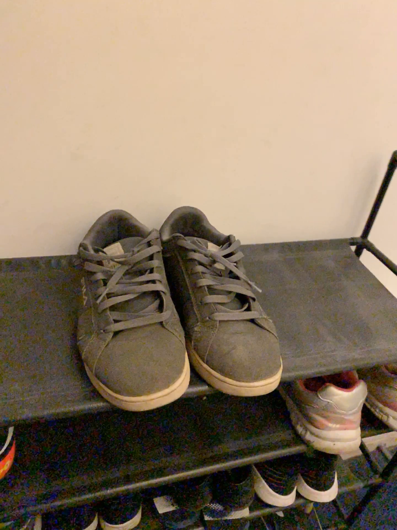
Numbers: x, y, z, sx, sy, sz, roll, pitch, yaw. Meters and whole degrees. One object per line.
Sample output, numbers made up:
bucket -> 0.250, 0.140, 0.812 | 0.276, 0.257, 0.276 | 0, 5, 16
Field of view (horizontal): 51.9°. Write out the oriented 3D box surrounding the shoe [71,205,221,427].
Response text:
shoe -> -0.077, 0.030, 0.465 | 0.120, 0.079, 0.272 | -5, 35, -15

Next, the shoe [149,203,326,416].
shoe -> 0.022, 0.027, 0.518 | 0.120, 0.079, 0.303 | -5, 35, -15
